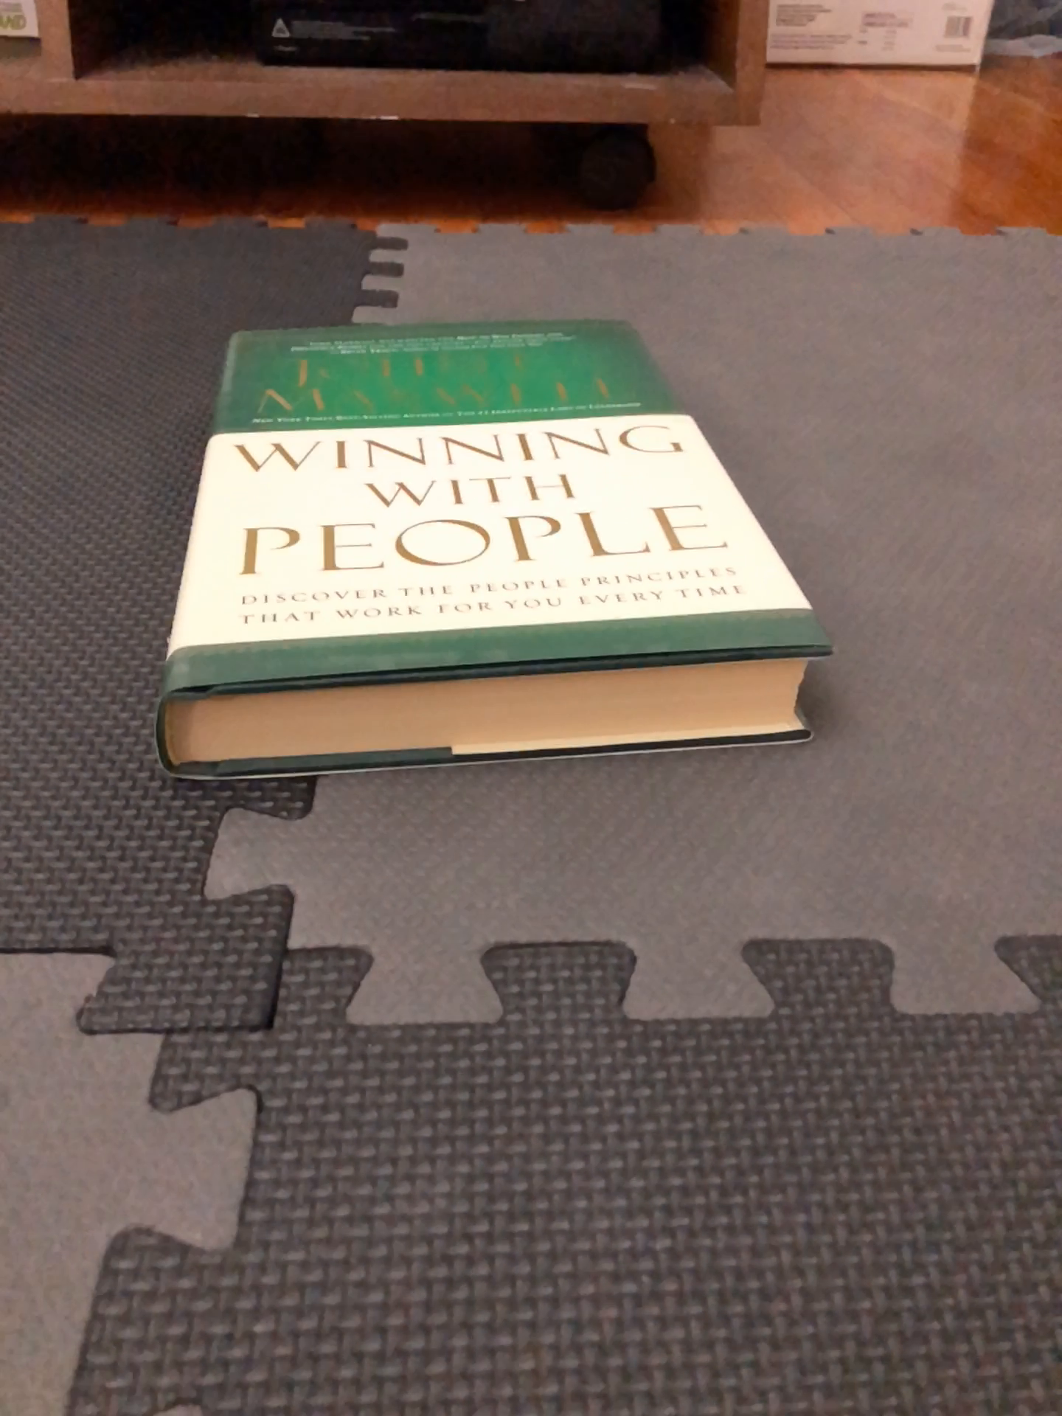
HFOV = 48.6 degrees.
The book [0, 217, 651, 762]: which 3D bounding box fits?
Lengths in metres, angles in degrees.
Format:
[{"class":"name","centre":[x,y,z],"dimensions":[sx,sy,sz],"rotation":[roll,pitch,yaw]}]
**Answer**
[{"class":"book","centre":[-0.092,-0.090,0.338],"dimensions":[0.200,0.030,0.292],"rotation":[-2,35,-5]}]
